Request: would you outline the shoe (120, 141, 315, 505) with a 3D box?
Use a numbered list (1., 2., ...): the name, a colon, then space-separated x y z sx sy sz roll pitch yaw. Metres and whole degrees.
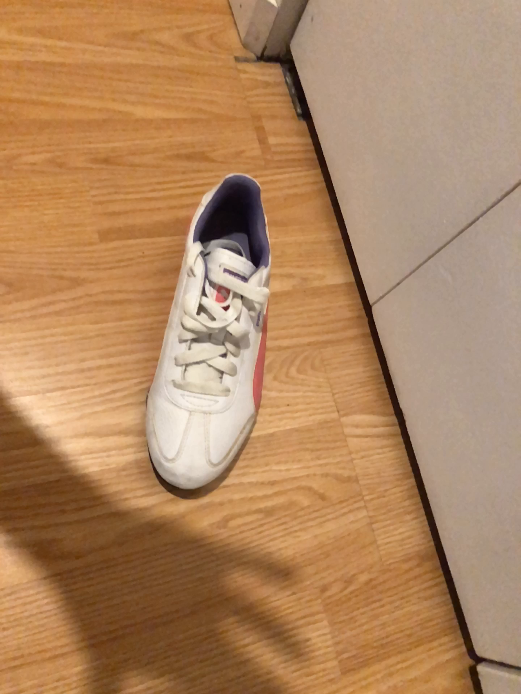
1. shoe: -0.030 -0.019 0.451 0.100 0.080 0.260 13 68 -13
